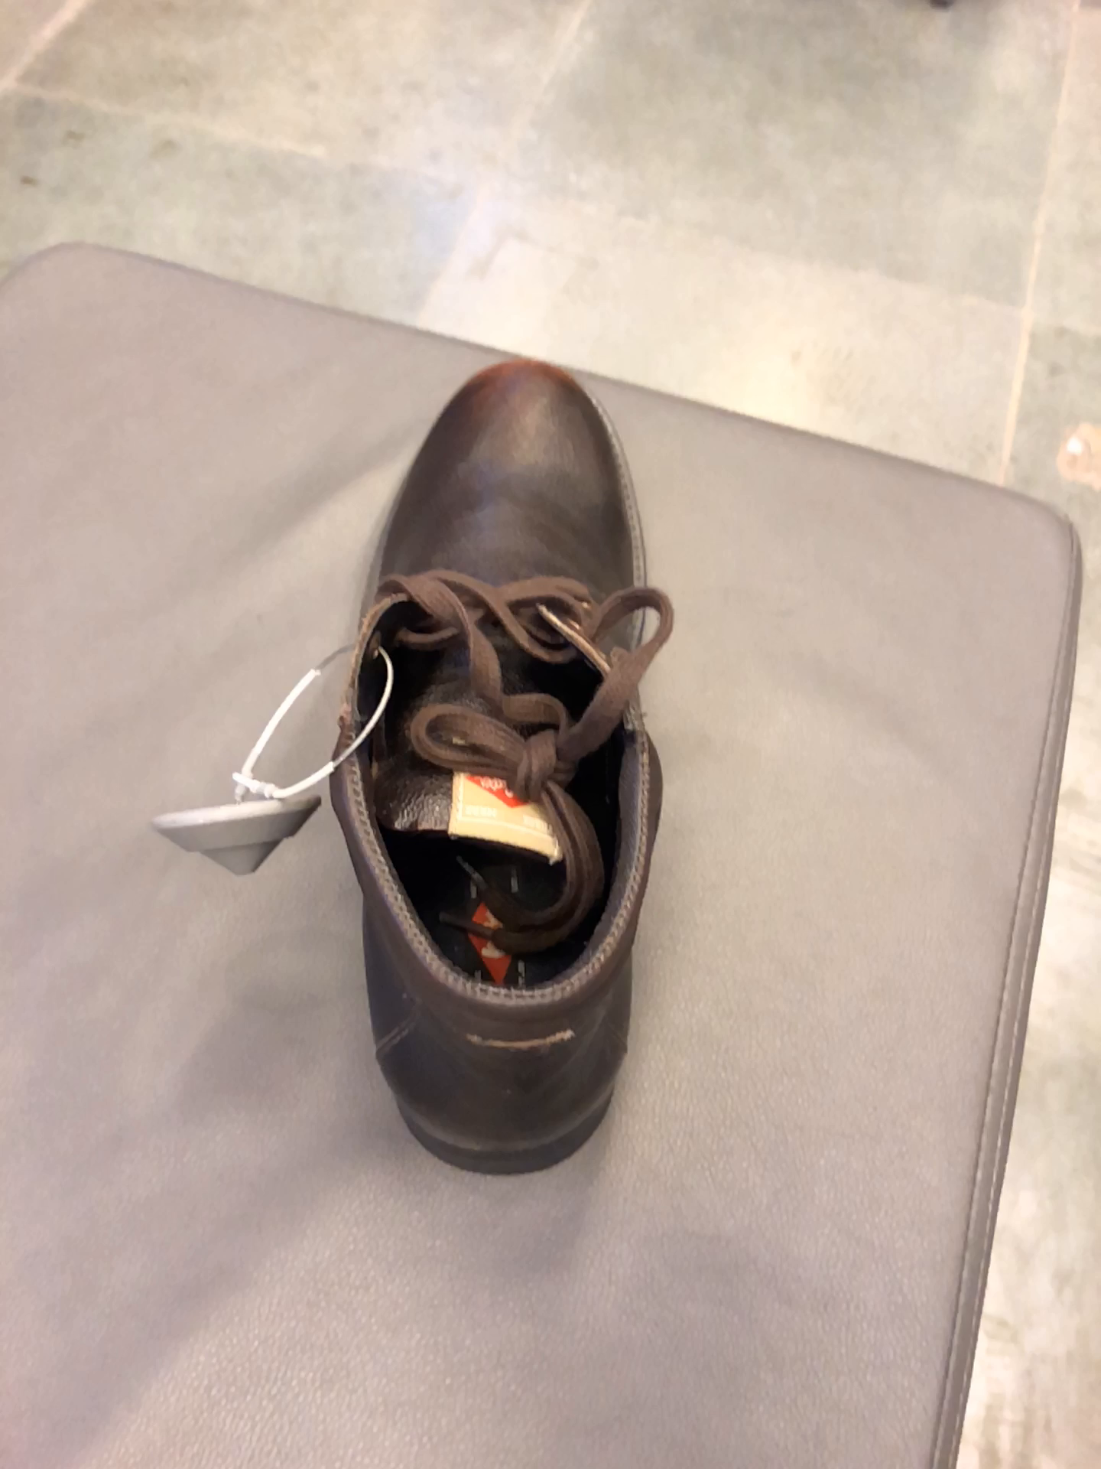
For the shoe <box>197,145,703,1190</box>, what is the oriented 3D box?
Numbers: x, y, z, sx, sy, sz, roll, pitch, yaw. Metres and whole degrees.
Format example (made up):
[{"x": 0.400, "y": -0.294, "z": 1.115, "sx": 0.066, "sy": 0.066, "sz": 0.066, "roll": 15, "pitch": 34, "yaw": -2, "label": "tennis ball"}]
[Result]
[{"x": -0.019, "y": -0.020, "z": 0.410, "sx": 0.108, "sy": 0.177, "sz": 0.300, "roll": 2, "pitch": 61, "yaw": 0, "label": "shoe"}]
